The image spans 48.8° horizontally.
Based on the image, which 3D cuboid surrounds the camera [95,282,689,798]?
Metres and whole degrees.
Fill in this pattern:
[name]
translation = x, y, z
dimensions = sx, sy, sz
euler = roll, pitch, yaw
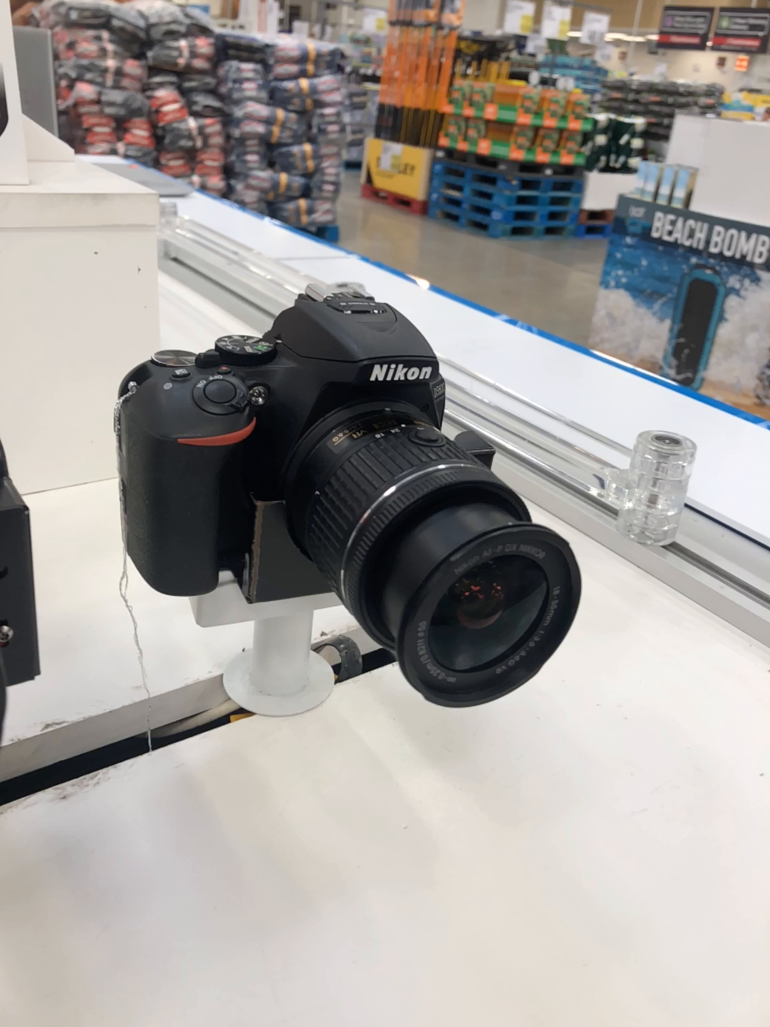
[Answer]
[camera]
translation = -0.011, -0.012, 0.278
dimensions = 0.120, 0.089, 0.151
euler = -11, 32, -31
